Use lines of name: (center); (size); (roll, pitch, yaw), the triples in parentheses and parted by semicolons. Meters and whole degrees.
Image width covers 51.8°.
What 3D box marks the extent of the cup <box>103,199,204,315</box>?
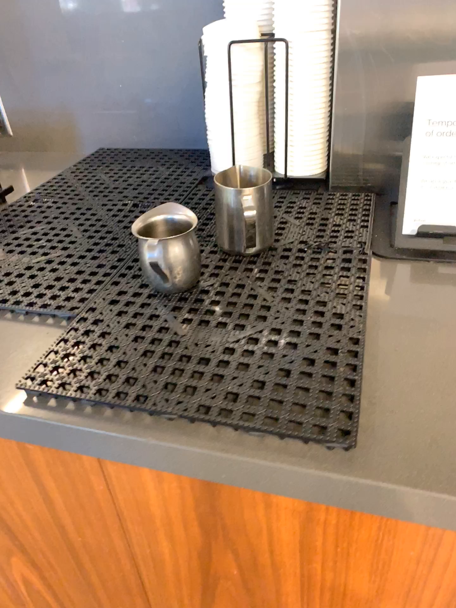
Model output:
cup: (-0.072, -0.054, 0.500); (0.080, 0.070, 0.121); (-3, 34, 3)

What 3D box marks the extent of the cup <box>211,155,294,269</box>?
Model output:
cup: (0.025, -0.107, 0.527); (0.080, 0.079, 0.121); (-4, 34, 2)
